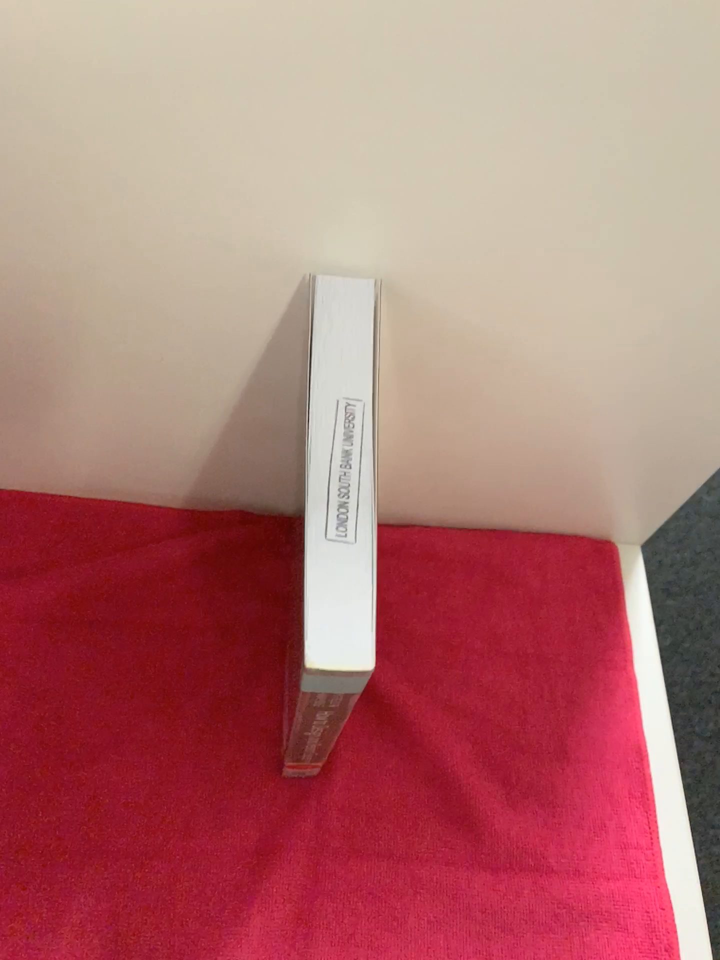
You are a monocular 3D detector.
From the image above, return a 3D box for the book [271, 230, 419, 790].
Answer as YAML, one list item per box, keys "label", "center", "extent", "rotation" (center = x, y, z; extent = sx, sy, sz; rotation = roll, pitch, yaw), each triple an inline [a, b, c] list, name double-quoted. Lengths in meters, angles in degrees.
- label: "book"
  center: [-0.016, 0.038, 0.380]
  extent: [0.040, 0.249, 0.191]
  rotation: [4, 60, -6]
